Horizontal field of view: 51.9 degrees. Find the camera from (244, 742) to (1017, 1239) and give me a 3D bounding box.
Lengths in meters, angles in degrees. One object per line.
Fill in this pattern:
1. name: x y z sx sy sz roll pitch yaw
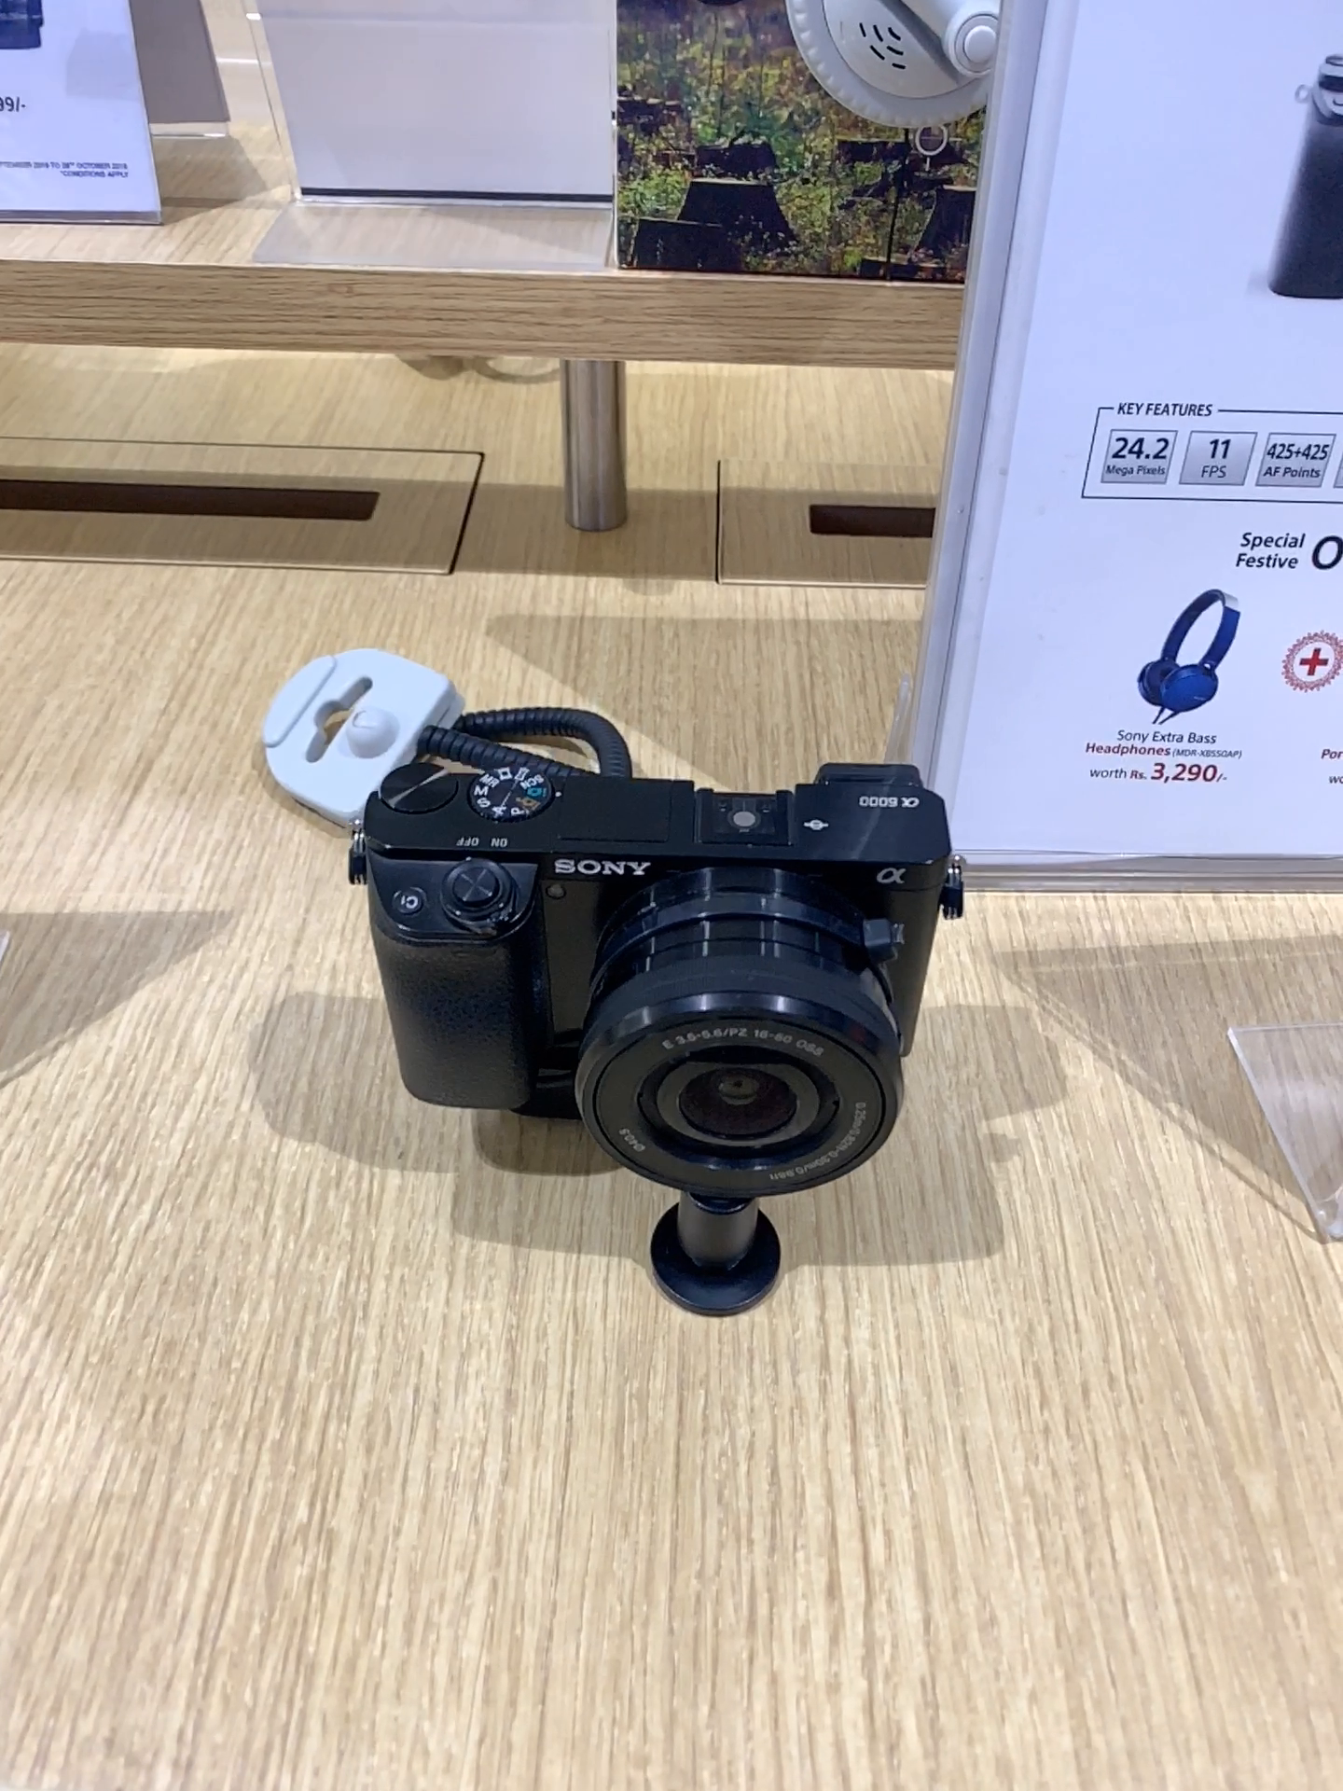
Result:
1. camera: -0.007 0.019 0.282 0.130 0.070 0.070 1 44 0
